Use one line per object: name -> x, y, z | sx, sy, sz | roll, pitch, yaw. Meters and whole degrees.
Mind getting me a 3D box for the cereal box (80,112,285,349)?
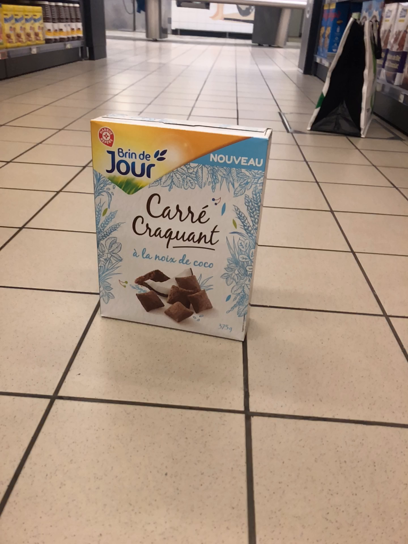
cereal box -> -0.024, -0.047, 0.517 | 0.200, 0.239, 0.070 | 8, 28, 11
